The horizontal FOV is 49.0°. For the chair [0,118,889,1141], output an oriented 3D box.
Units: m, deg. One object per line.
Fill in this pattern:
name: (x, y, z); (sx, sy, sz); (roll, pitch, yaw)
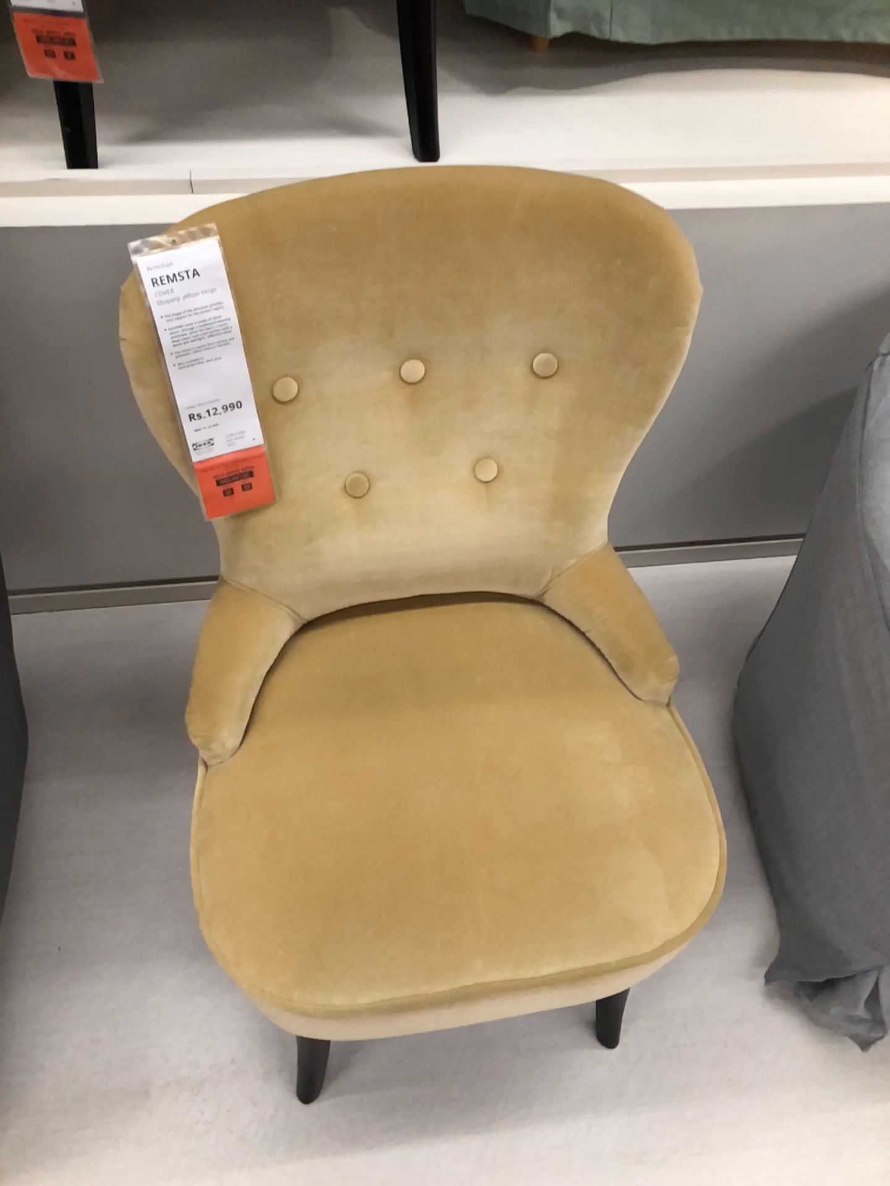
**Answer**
chair: (0.009, 0.111, 1.016); (0.580, 0.866, 0.643); (-6, 56, -8)
